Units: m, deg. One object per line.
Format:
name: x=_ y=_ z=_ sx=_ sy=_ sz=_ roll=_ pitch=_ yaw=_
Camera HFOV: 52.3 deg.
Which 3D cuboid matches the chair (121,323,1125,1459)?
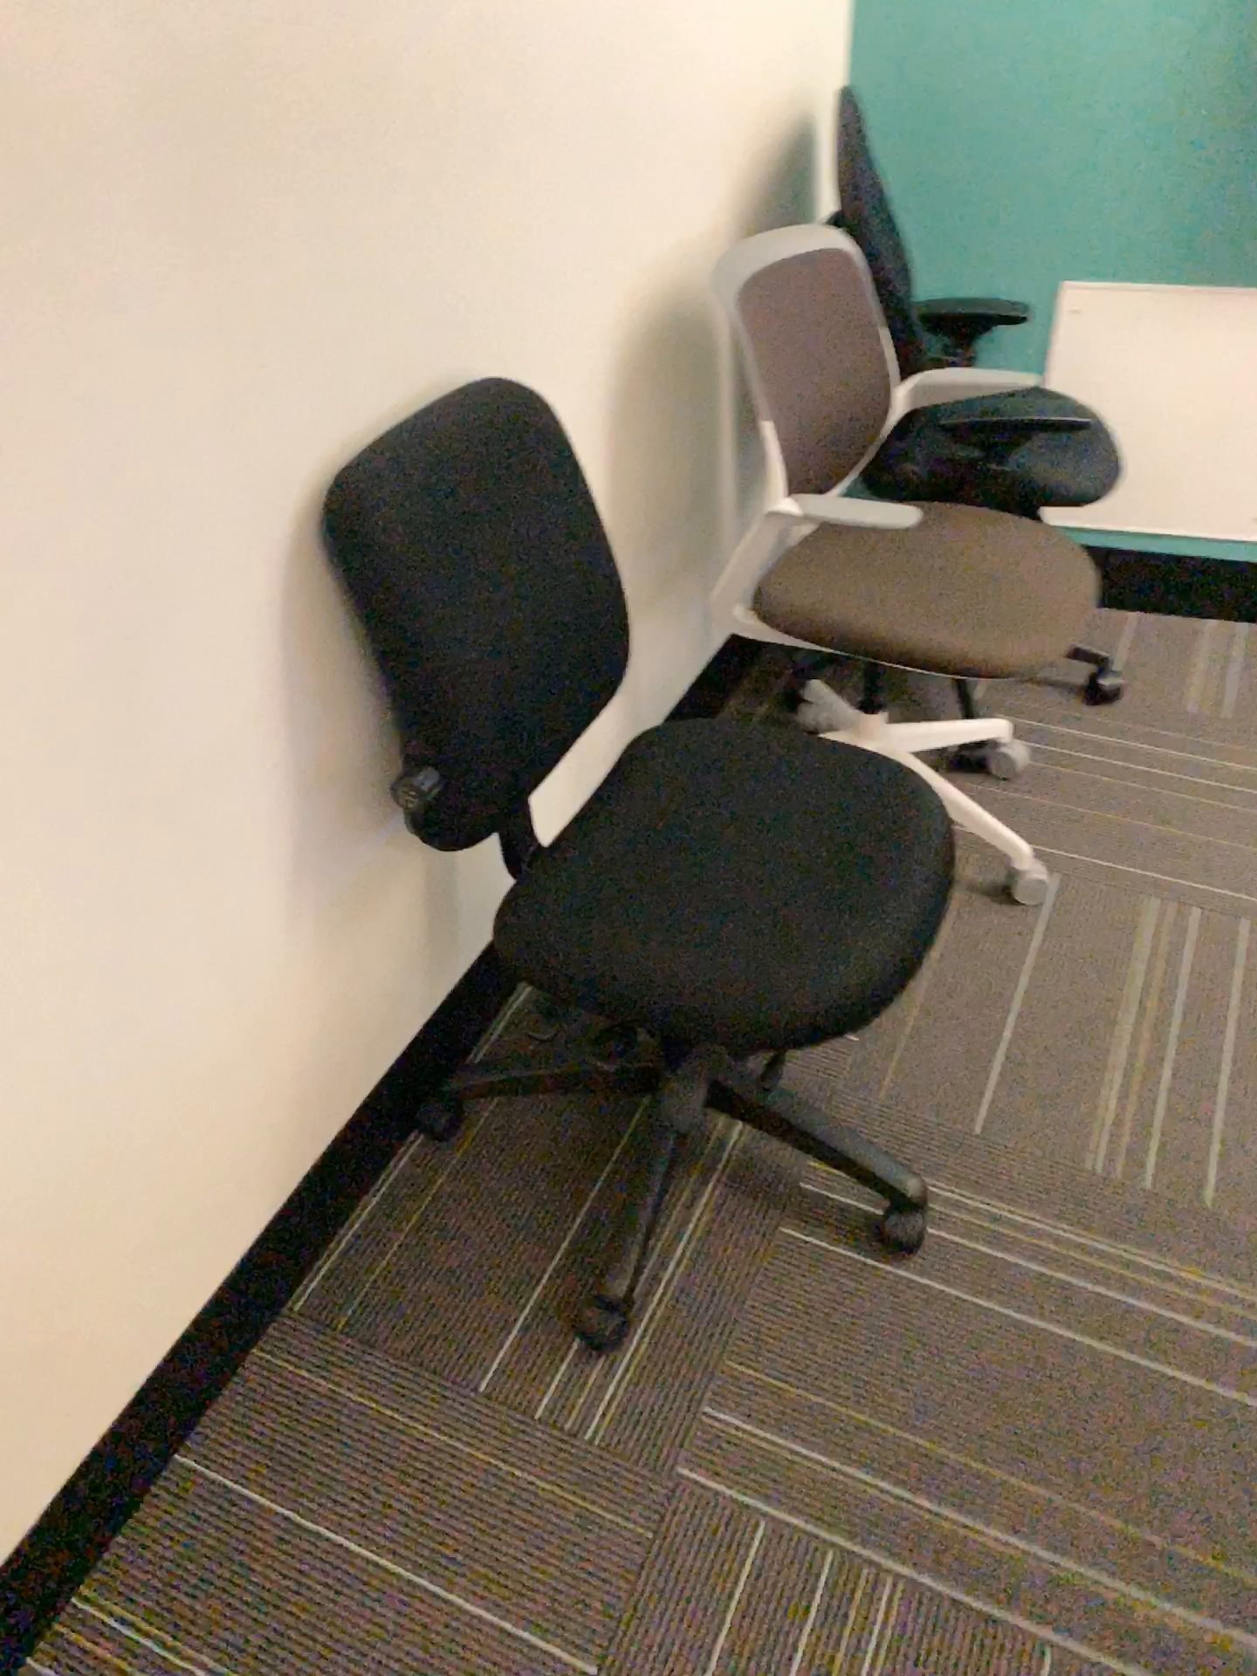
chair: x=0.057 y=0.038 z=1.522 sx=0.741 sy=0.994 sz=0.683 roll=14 pitch=41 yaw=19
